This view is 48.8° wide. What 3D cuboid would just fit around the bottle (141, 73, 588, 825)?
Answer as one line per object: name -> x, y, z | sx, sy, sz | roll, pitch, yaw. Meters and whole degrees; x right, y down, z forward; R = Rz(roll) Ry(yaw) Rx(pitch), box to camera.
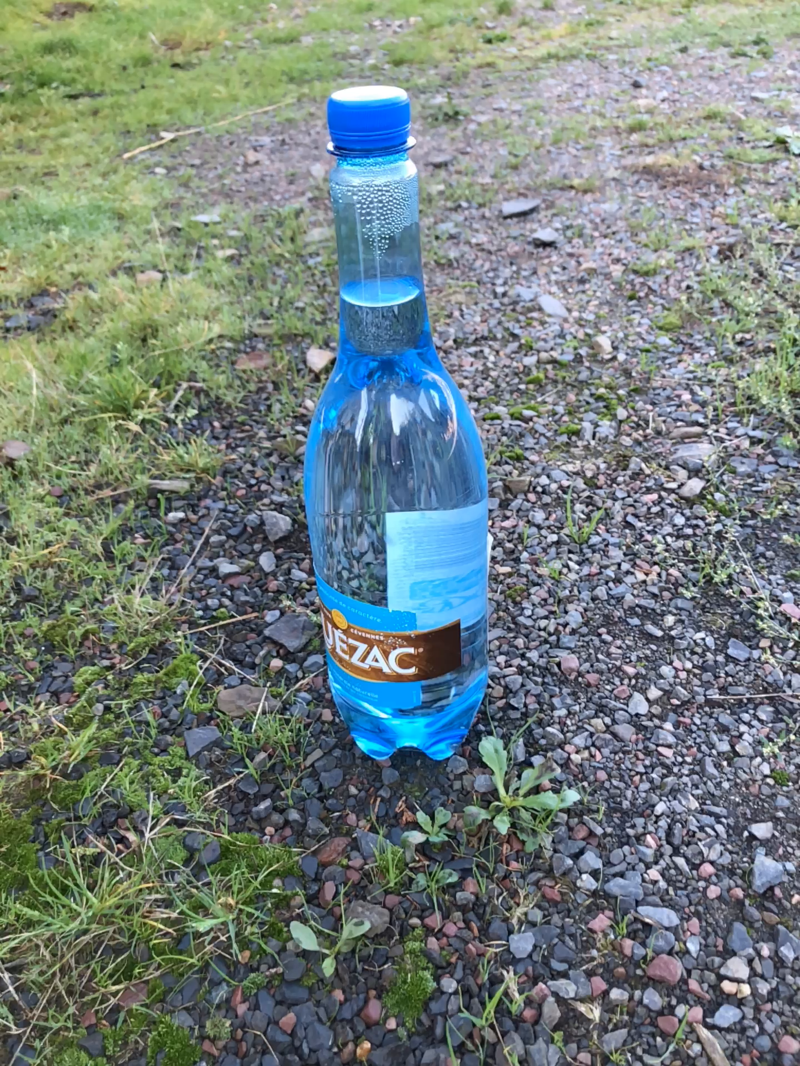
bottle -> -0.003, -0.024, 0.395 | 0.110, 0.298, 0.110 | -4, 38, 3
